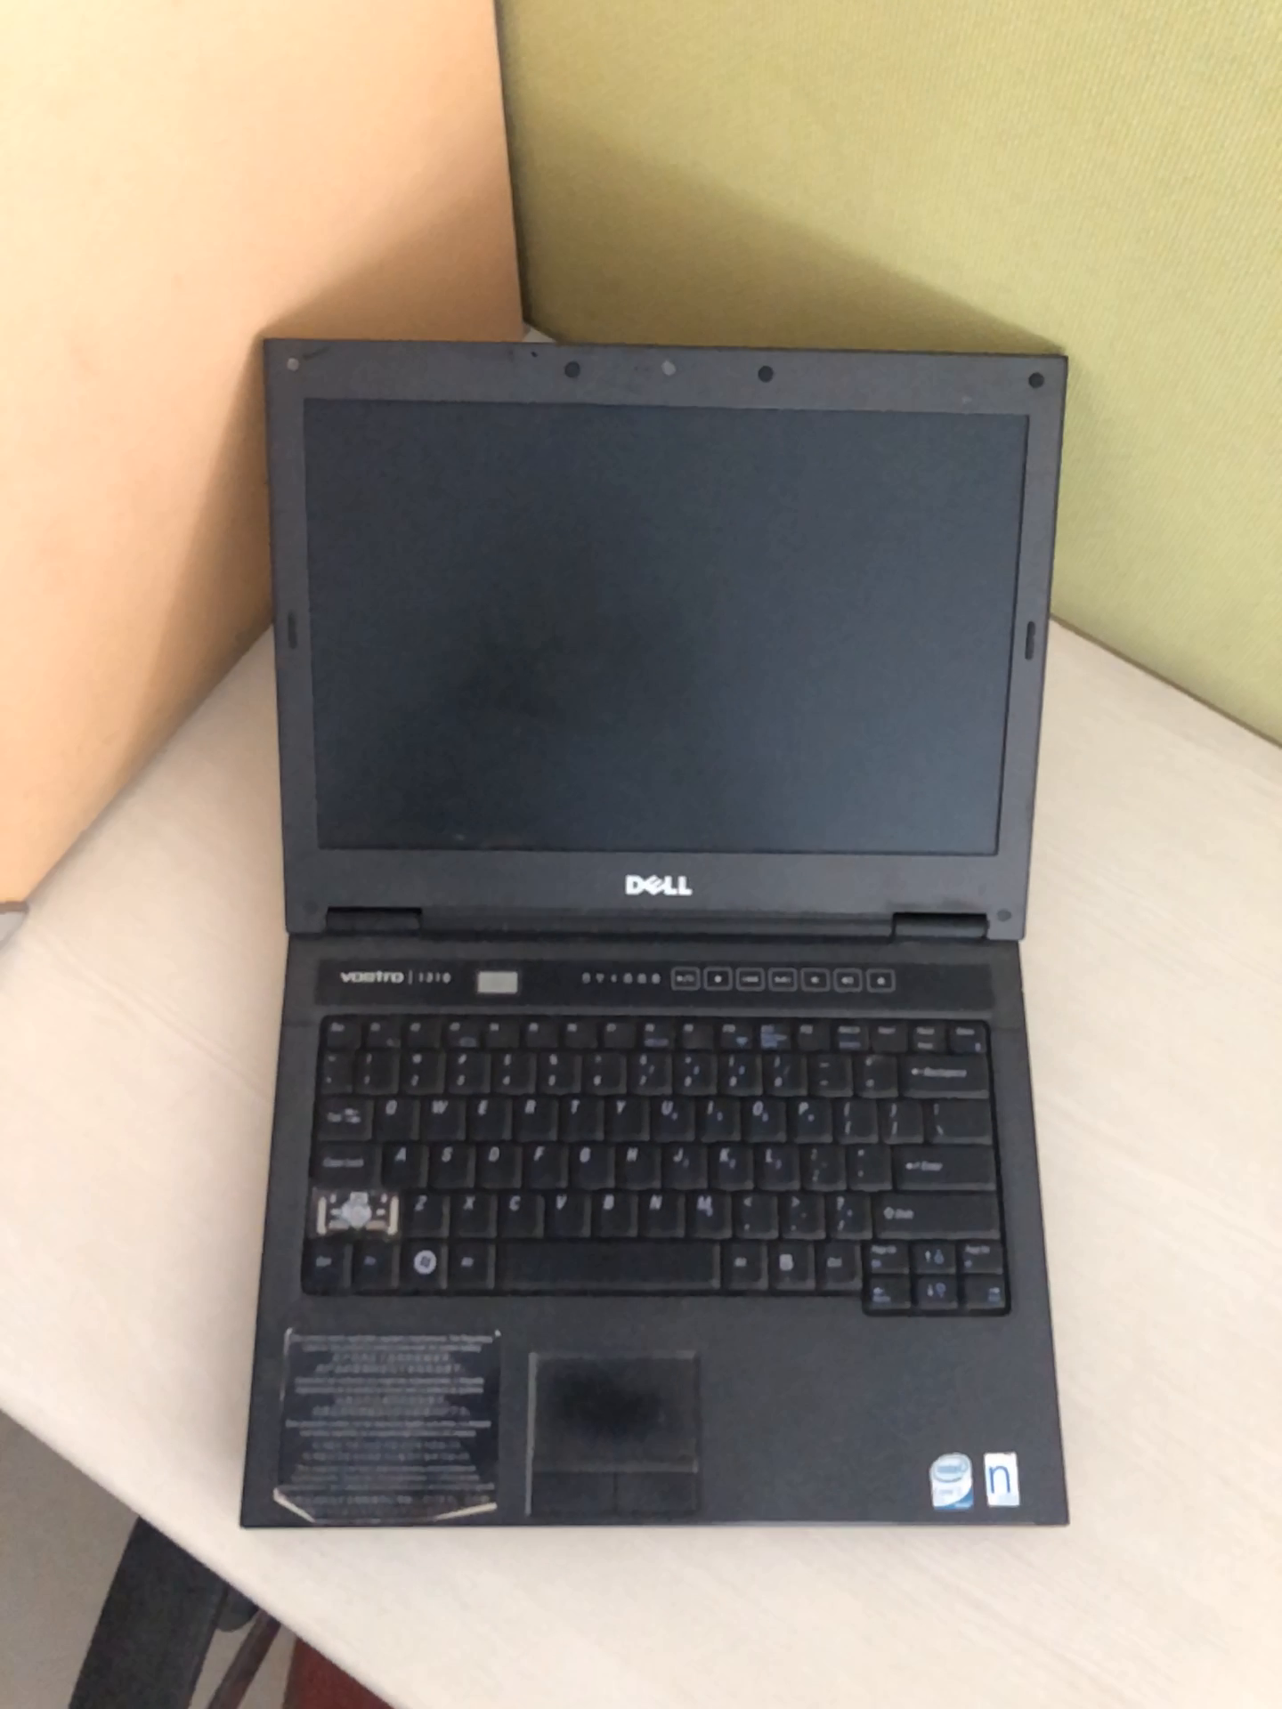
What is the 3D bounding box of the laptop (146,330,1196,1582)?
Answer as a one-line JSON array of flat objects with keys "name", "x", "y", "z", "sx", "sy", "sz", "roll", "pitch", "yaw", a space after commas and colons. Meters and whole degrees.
[{"name": "laptop", "x": 0.009, "y": 0.023, "z": 0.538, "sx": 0.305, "sy": 0.125, "sz": 0.431, "roll": 0, "pitch": 72, "yaw": -2}]
